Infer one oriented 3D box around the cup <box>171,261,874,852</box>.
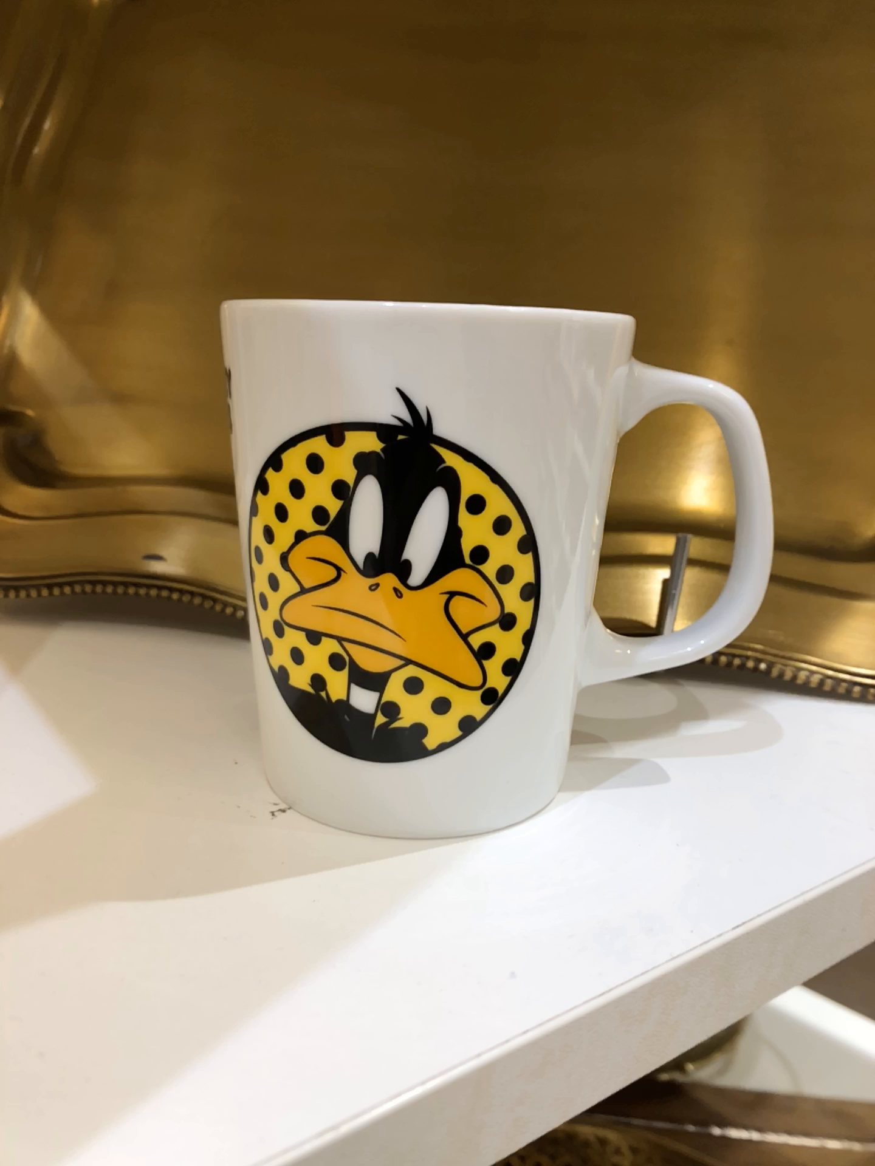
[{"bbox_3d":[0.015,-0.012,0.198,0.120,0.090,0.090,0,14,-8],"label":"cup"}]
